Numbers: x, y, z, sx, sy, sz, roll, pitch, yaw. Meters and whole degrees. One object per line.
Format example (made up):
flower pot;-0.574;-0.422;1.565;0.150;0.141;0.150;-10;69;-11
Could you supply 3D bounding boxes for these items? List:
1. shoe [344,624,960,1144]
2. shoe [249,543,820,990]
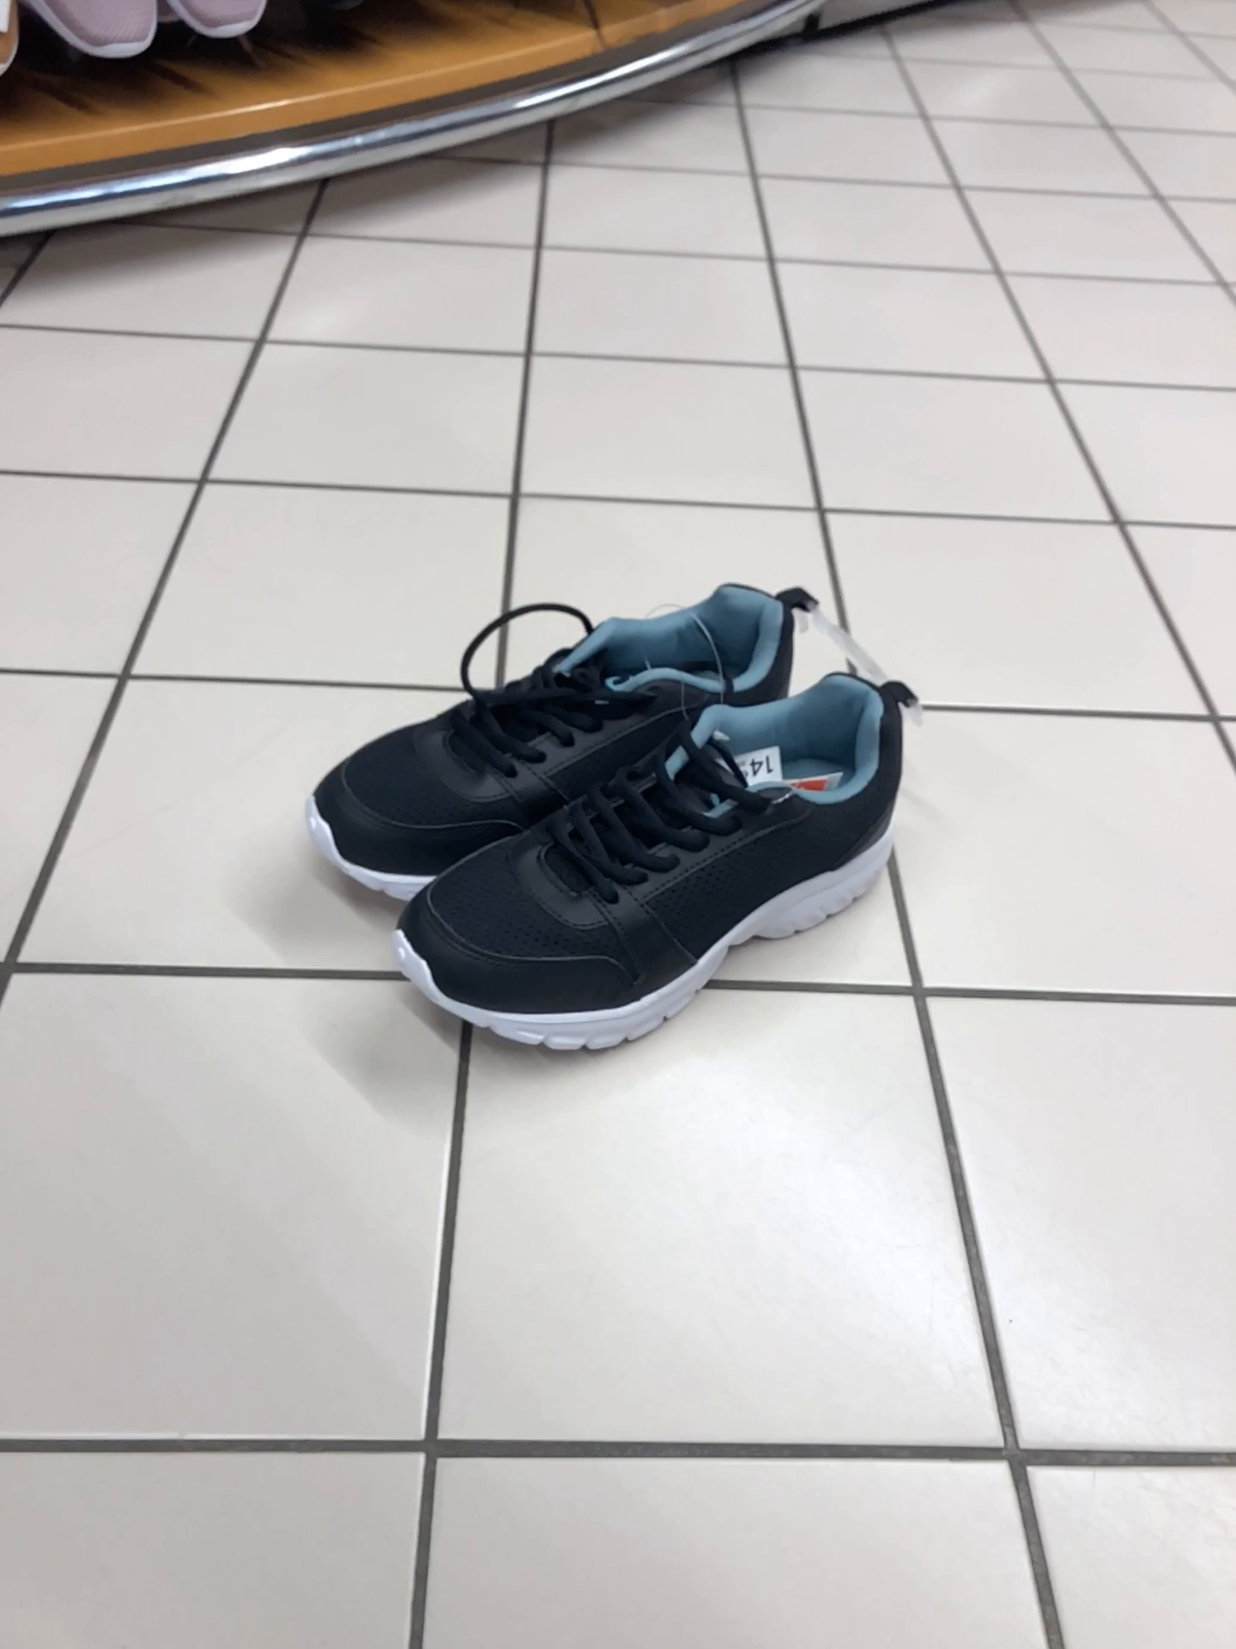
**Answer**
shoe;0.016;0.018;0.599;0.241;0.109;0.100;-23;51;-26
shoe;-0.034;-0.036;0.647;0.241;0.099;0.100;-23;47;-26
